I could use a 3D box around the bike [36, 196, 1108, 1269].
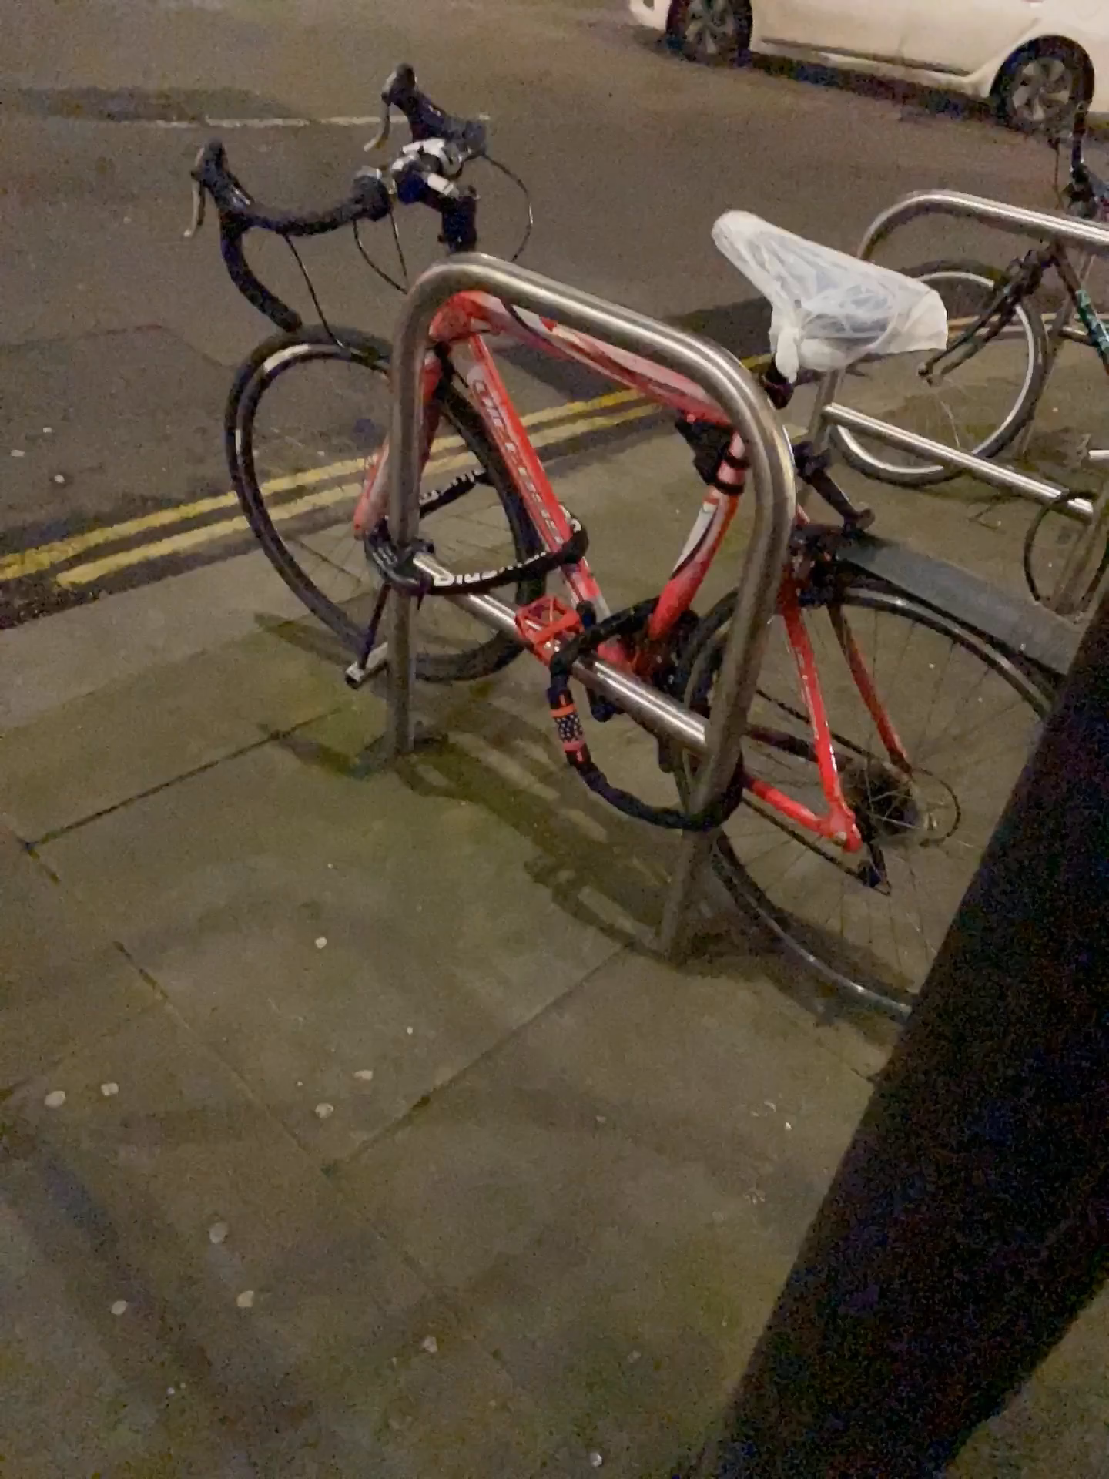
[{"bbox_3d":[-0.010,-0.169,1.671,1.663,0.809,0.539,32,44,30],"label":"bike"}]
